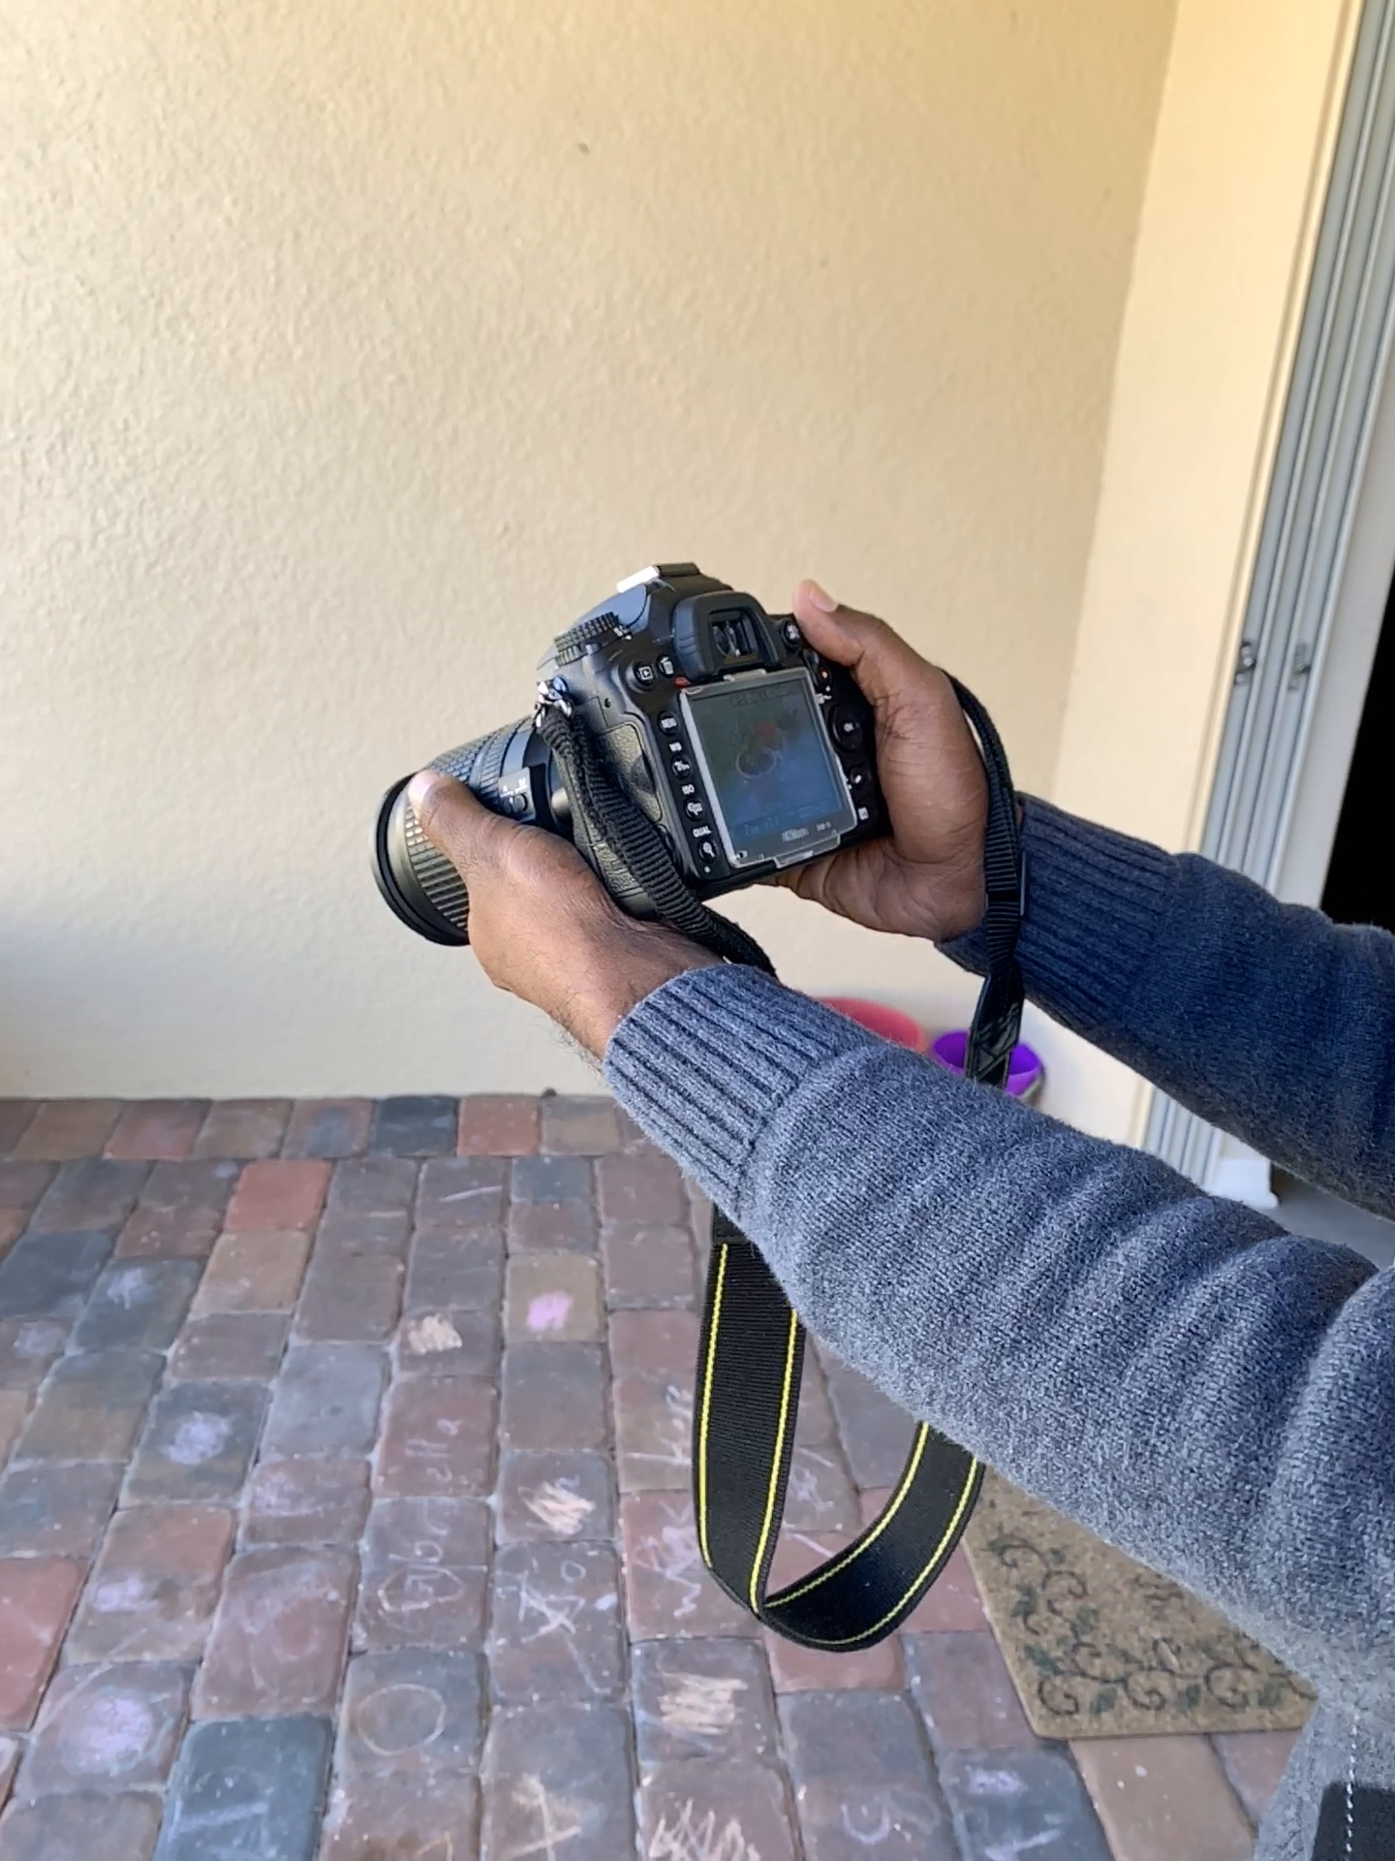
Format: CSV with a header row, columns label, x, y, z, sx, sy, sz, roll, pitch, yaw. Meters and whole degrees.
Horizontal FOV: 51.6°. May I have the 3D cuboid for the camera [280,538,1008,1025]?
label,x,y,z,sx,sy,sz,roll,pitch,yaw
camera,-0.023,-0.048,0.502,0.199,0.100,0.131,-16,2,43
